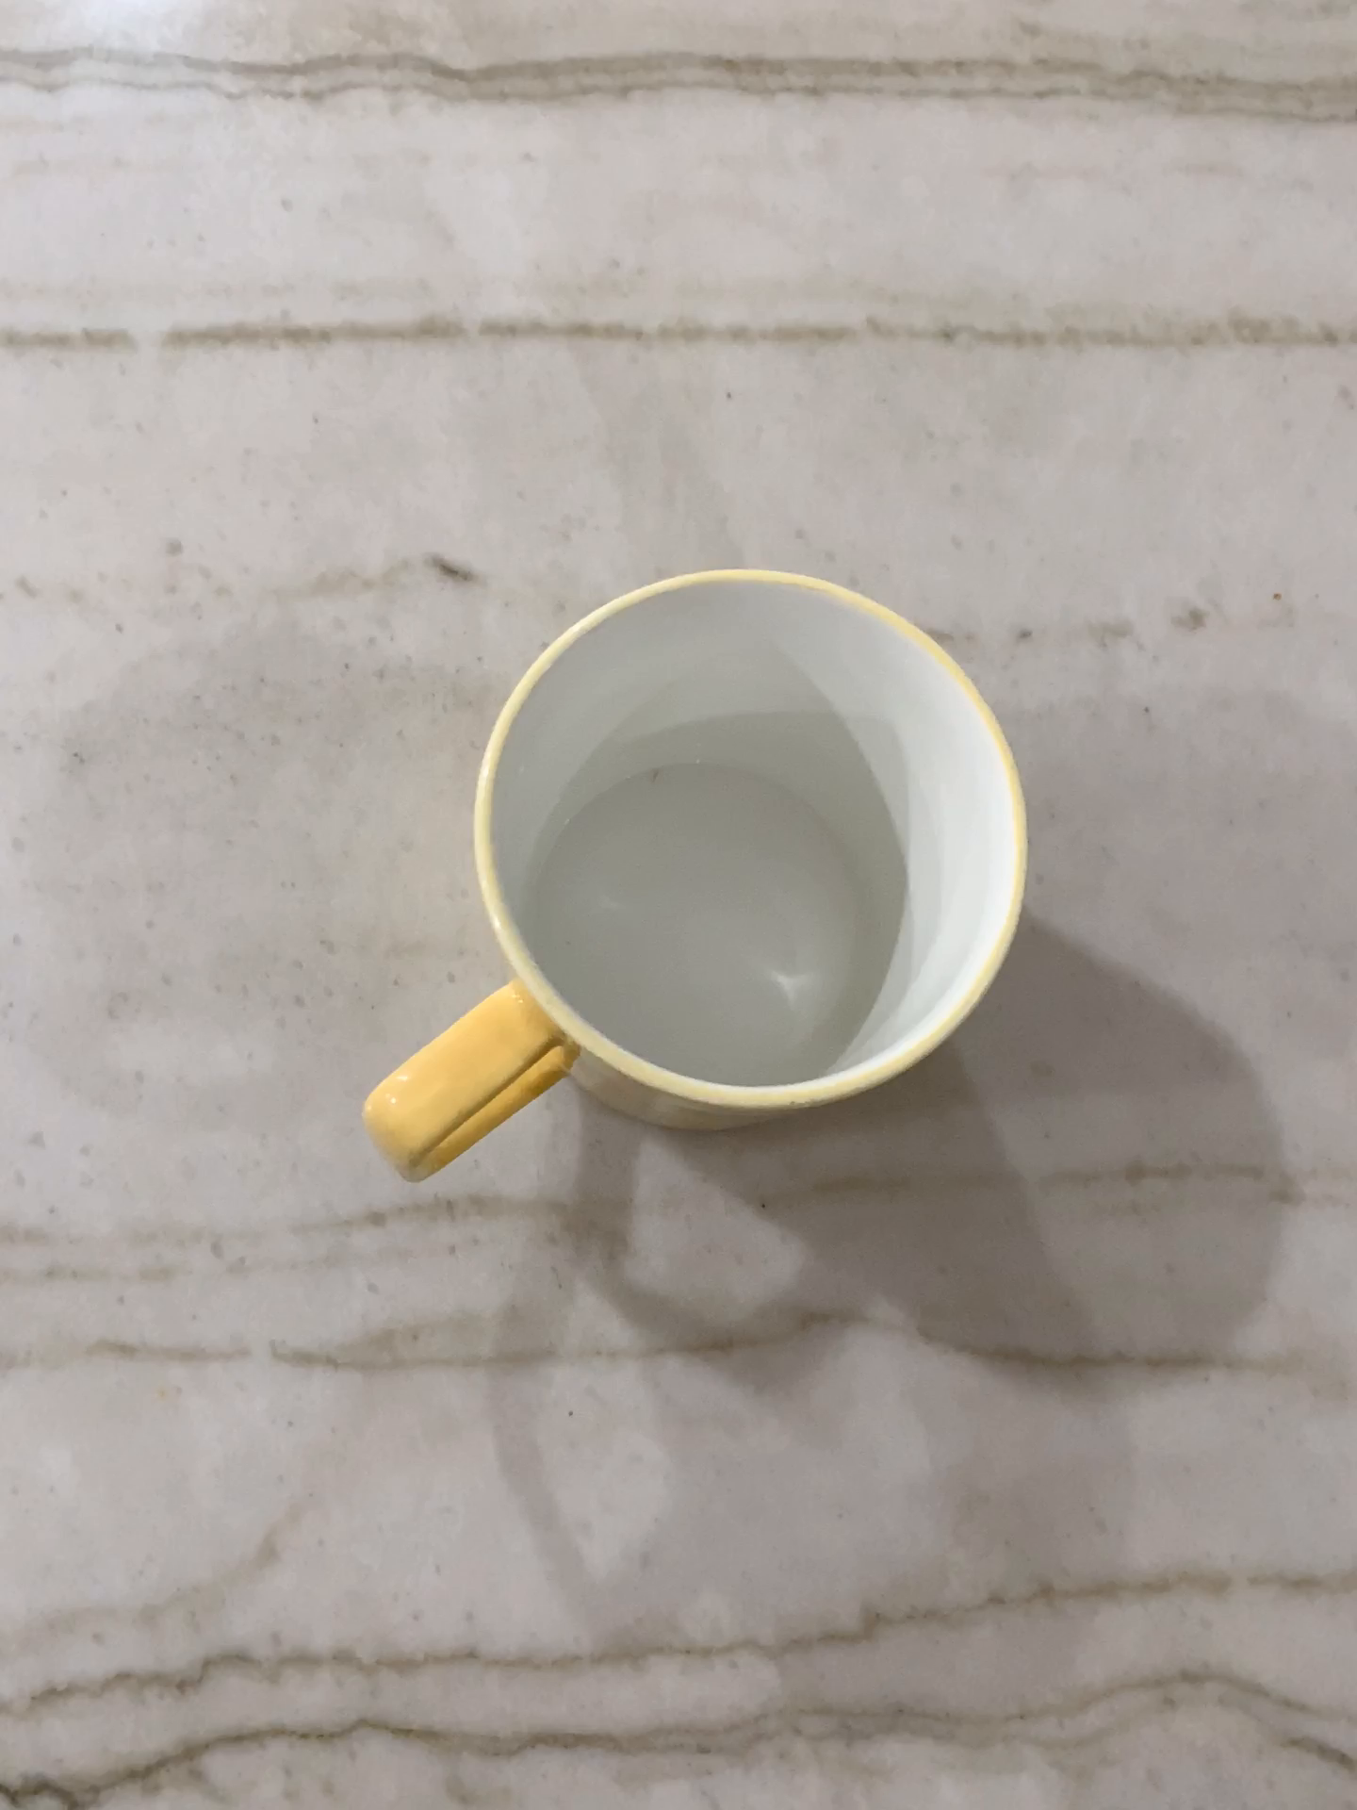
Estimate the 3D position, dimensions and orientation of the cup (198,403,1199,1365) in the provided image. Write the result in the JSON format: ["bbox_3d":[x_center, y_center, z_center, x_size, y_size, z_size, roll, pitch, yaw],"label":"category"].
[{"bbox_3d":[0.002,0.000,0.219,0.109,0.074,0.074,-42,84,-12],"label":"cup"}]
